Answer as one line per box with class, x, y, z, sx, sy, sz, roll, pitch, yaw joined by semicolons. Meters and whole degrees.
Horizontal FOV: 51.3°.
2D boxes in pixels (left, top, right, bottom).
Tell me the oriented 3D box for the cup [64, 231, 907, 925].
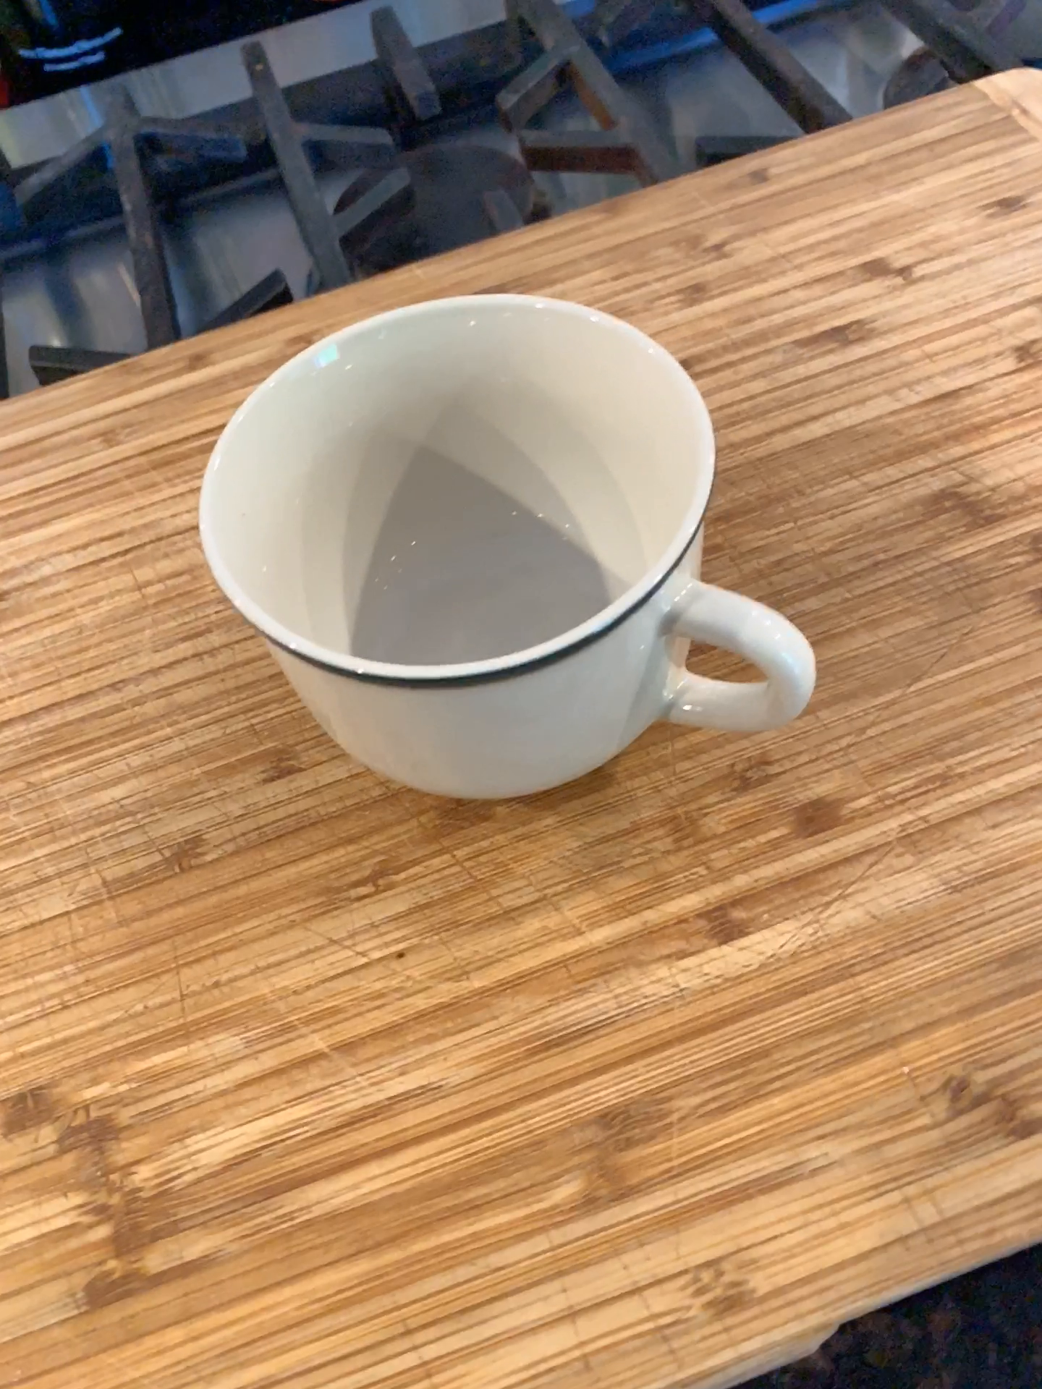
cup;-0.002;-0.028;0.213;0.120;0.060;0.090;19;62;20
